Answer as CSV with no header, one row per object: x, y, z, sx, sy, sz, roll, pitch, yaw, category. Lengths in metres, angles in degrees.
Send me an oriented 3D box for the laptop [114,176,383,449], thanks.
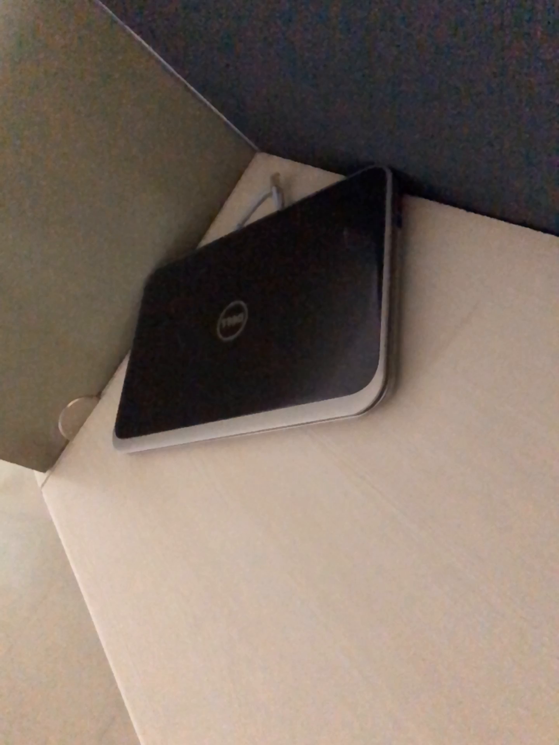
-0.050,-0.047,0.668,0.373,0.010,0.246,-13,58,43,laptop
